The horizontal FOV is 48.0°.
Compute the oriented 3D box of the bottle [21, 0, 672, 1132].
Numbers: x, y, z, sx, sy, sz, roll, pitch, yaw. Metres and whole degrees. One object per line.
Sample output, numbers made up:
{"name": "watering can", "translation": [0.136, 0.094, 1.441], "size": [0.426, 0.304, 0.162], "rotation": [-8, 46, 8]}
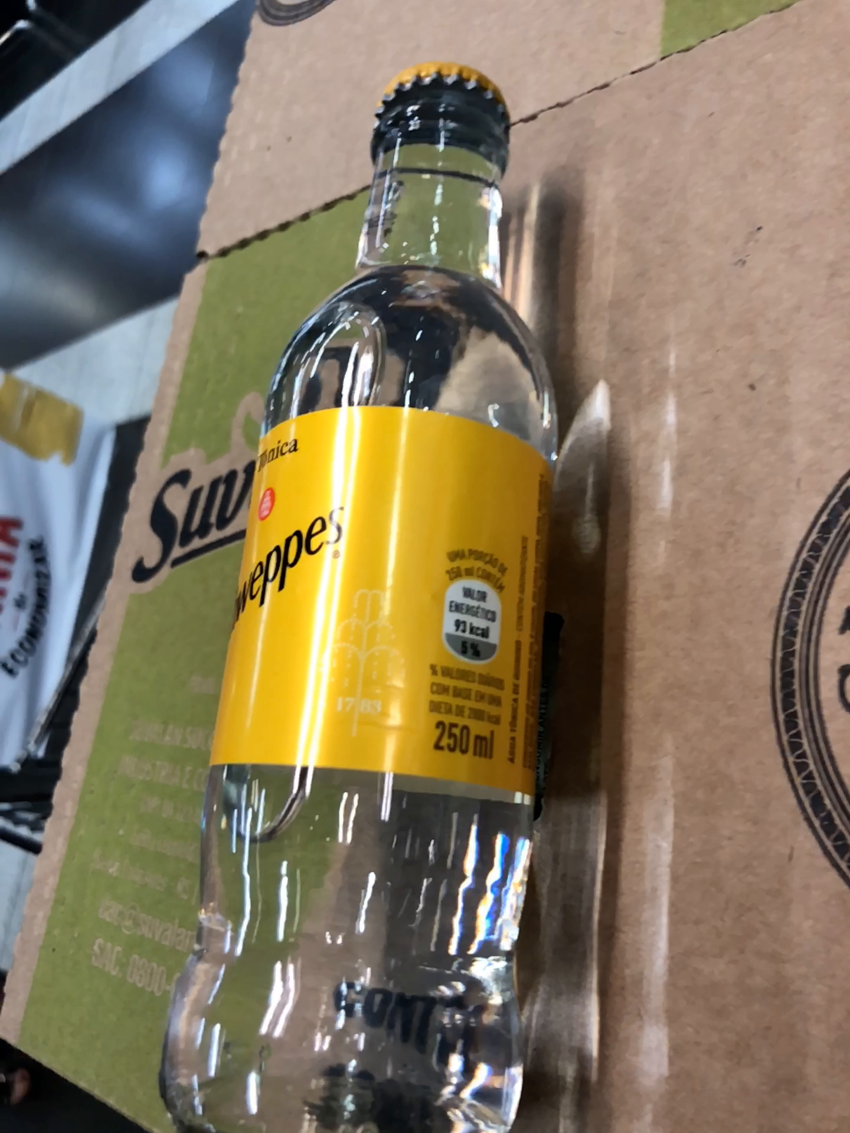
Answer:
{"name": "bottle", "translation": [-0.001, -0.026, 0.182], "size": [0.070, 0.070, 0.240], "rotation": [-10, 67, 39]}
